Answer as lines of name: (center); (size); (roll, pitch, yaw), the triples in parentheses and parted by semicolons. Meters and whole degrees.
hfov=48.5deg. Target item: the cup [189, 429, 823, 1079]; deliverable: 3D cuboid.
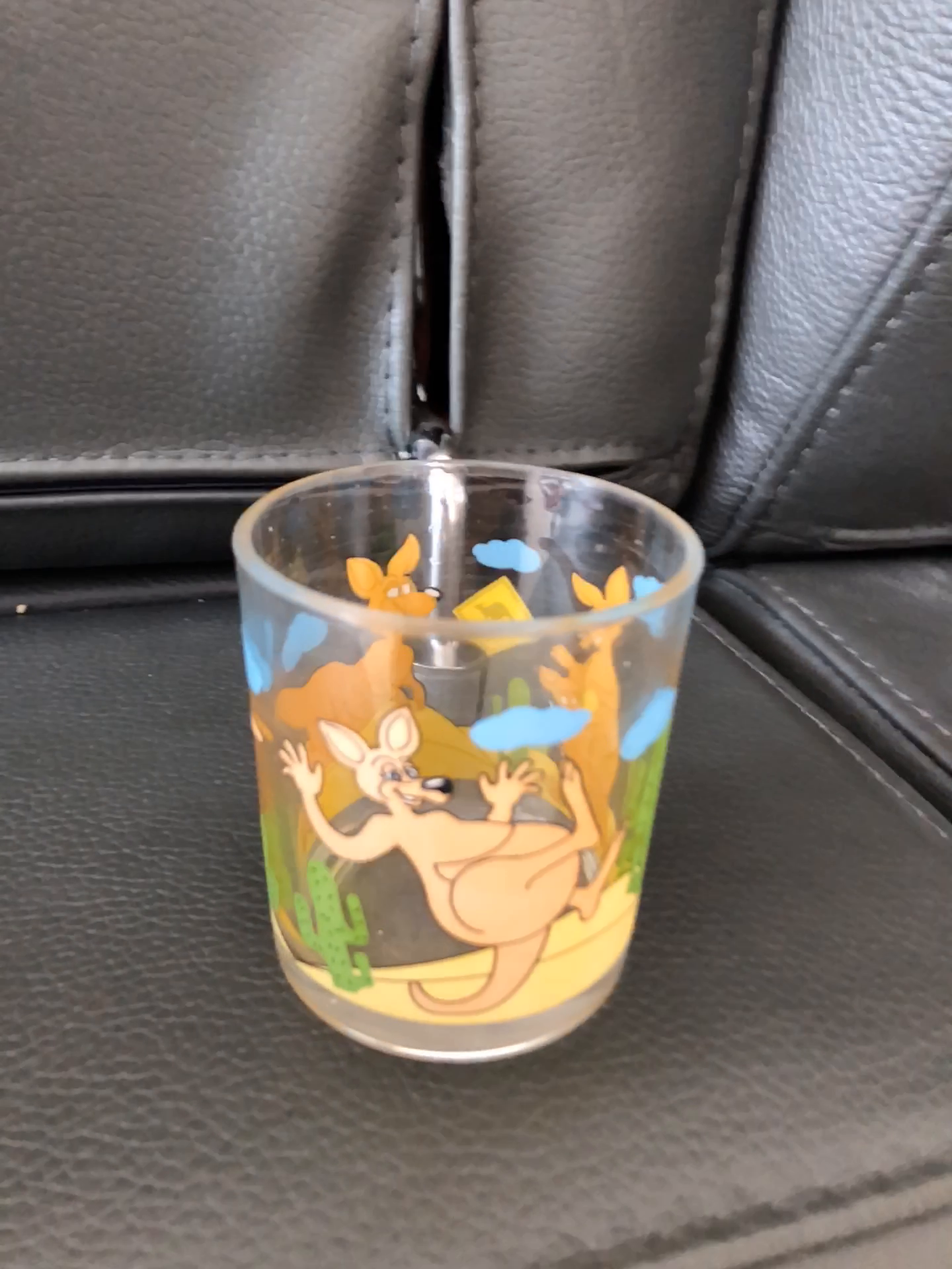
cup: (0.003, 0.016, 0.182); (0.080, 0.080, 0.070); (4, 26, 1)
